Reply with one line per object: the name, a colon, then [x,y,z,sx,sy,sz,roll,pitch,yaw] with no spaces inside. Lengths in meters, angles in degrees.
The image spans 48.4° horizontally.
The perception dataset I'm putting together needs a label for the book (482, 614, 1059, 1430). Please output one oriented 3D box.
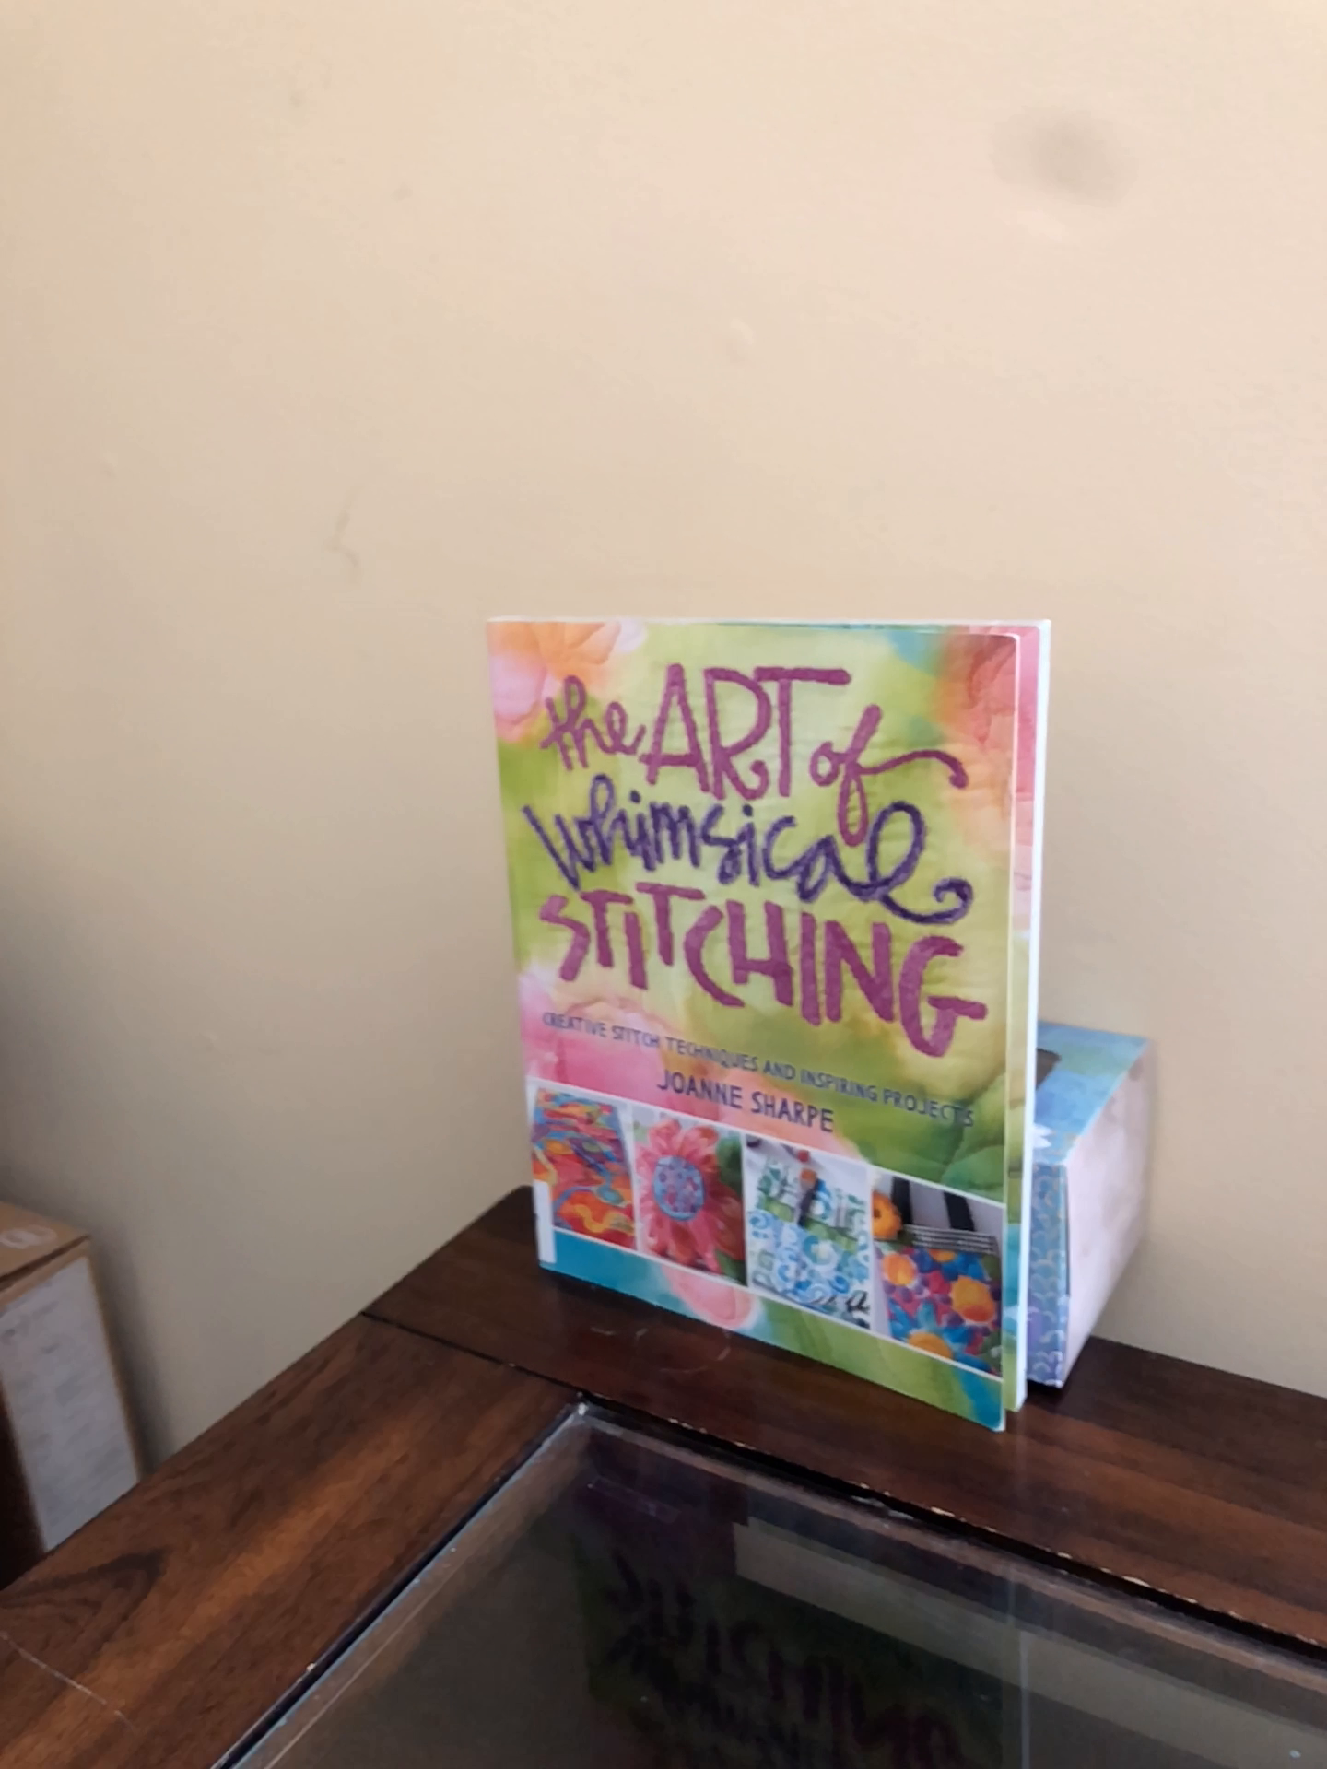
book: [0.030,0.038,0.535,0.214,0.263,0.029,9,17,35]
